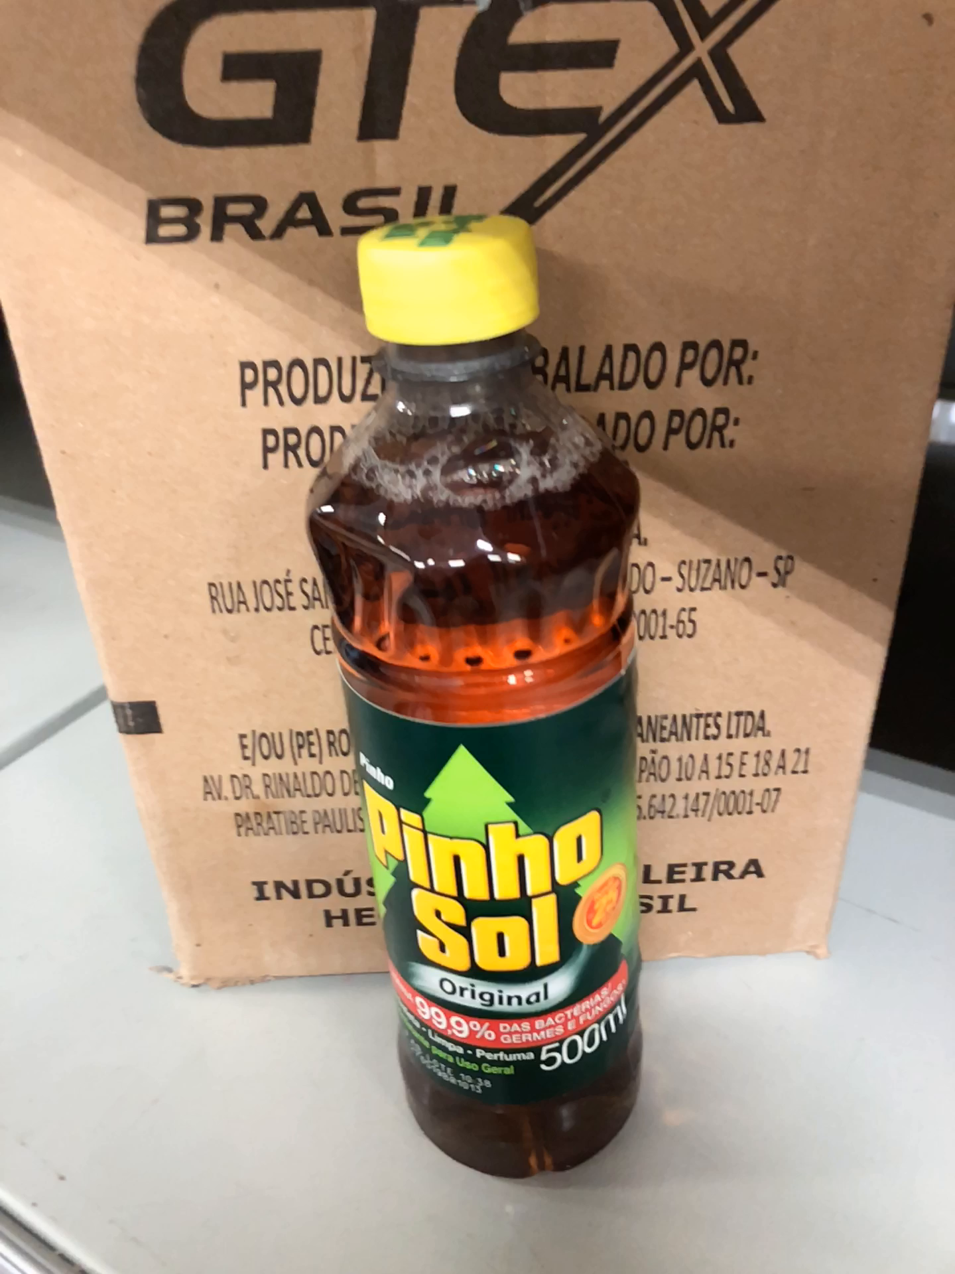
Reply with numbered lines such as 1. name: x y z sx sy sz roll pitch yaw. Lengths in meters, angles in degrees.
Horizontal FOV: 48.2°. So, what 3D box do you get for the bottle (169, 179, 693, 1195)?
1. bottle: 0.001 0.027 0.226 0.070 0.218 0.060 -1 33 4
